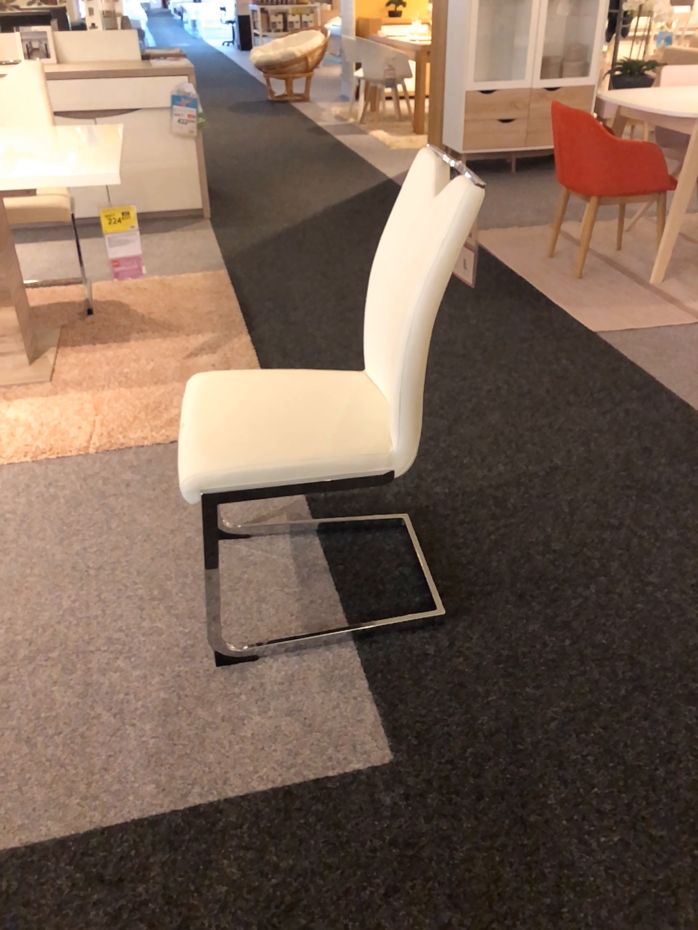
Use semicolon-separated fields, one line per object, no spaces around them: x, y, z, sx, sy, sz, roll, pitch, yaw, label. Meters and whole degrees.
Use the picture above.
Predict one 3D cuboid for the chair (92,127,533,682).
-0.081;-0.138;1.557;0.631;0.915;0.563;-6;32;-8;chair
